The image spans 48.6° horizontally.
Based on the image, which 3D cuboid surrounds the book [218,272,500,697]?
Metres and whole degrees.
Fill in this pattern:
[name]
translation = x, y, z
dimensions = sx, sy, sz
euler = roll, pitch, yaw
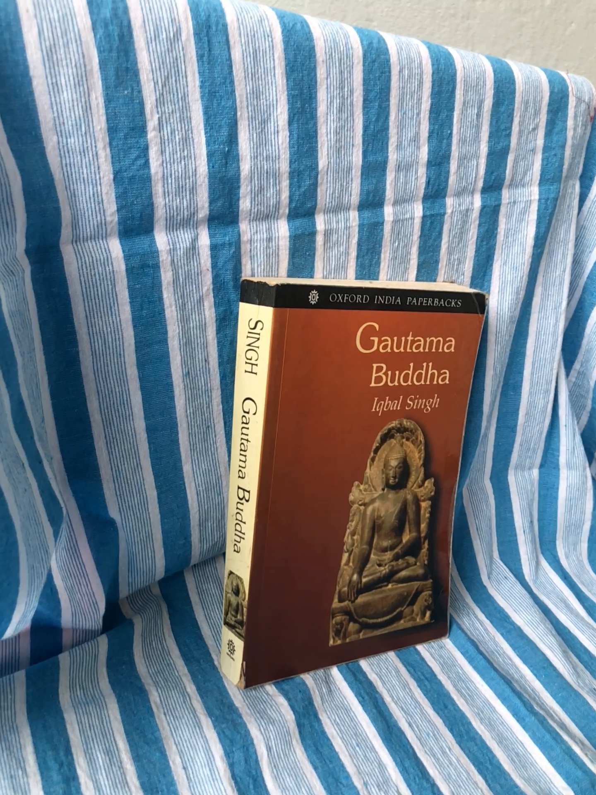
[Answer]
[book]
translation = 0.032, 0.041, 0.361
dimensions = 0.140, 0.209, 0.040
euler = -3, 13, -26
